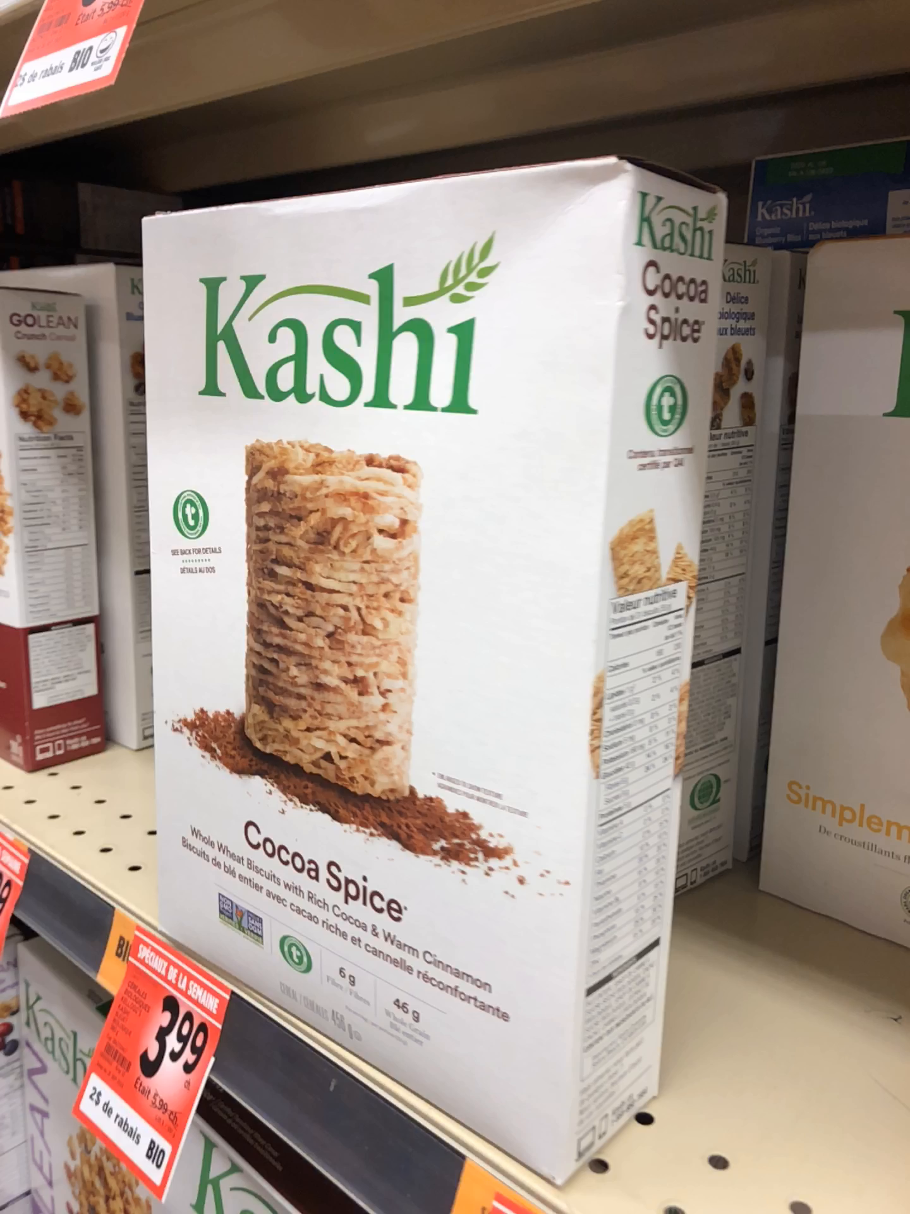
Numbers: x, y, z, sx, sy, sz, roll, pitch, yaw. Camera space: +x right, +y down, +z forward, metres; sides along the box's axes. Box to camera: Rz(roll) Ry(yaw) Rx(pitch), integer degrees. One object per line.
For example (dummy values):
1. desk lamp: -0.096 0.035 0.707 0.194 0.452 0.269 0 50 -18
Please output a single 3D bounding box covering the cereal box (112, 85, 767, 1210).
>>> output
1. cereal box: -0.023 0.004 0.331 0.210 0.279 0.060 12 16 39
